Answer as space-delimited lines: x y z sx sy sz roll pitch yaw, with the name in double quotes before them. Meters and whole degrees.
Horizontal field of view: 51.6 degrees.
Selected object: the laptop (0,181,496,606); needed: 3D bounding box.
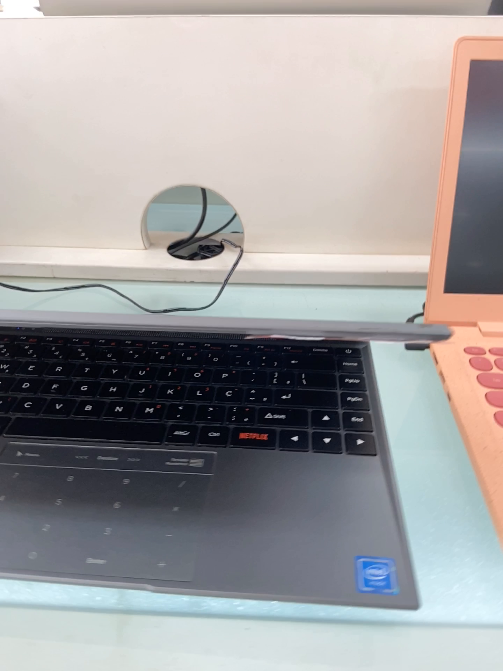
"laptop" -0.079 0.004 0.296 0.333 0.113 0.212 2 34 5
